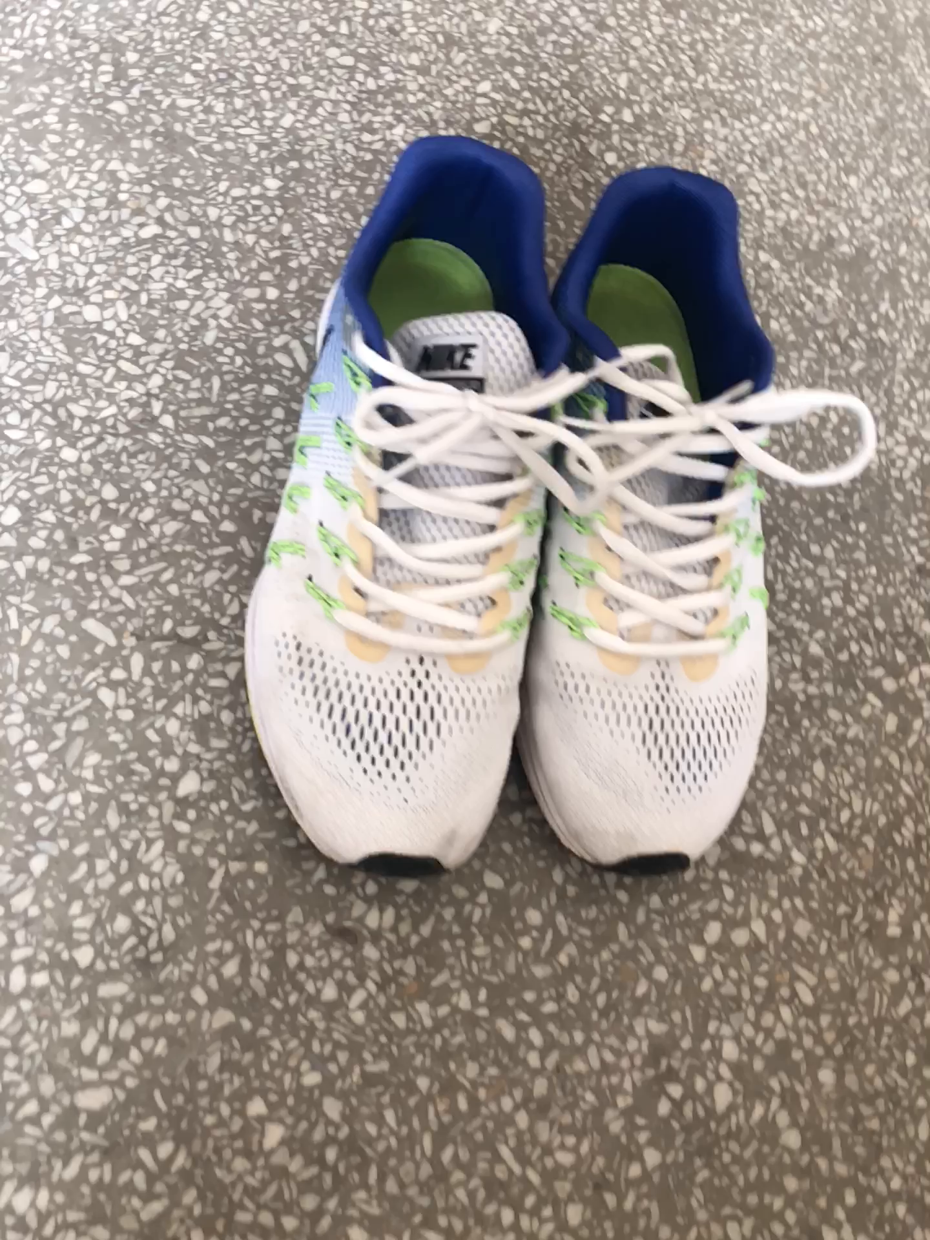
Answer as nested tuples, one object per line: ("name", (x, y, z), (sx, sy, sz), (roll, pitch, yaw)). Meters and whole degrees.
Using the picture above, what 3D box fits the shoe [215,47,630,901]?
("shoe", (-0.021, -0.050, 0.381), (0.113, 0.114, 0.282), (5, 67, -12))

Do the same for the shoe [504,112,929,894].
("shoe", (0.088, -0.041, 0.406), (0.111, 0.114, 0.275), (4, 68, -13))
